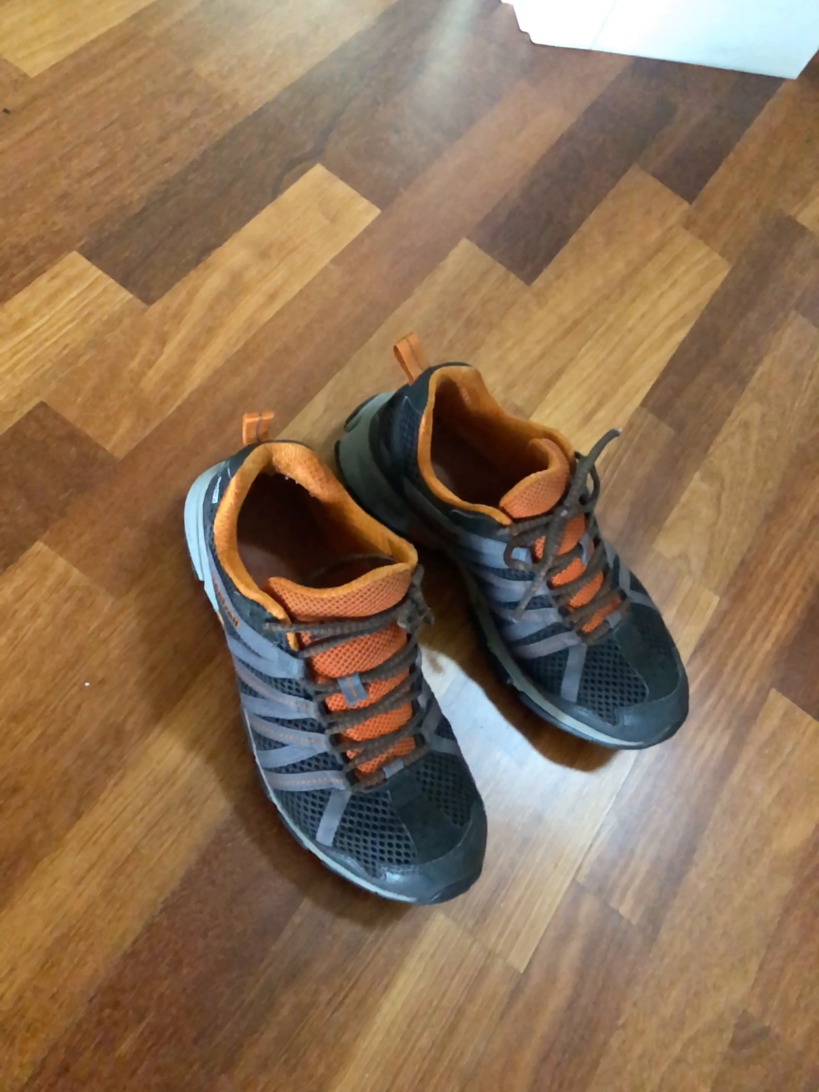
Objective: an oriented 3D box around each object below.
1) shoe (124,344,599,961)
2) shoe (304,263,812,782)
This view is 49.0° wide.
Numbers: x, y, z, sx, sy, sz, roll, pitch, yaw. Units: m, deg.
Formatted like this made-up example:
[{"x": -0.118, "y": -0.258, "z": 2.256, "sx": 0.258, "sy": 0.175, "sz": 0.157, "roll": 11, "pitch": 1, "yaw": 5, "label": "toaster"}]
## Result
[{"x": -0.041, "y": 0.054, "z": 0.479, "sx": 0.113, "sy": 0.117, "sz": 0.282, "roll": -23, "pitch": 75, "yaw": -24, "label": "shoe"}, {"x": 0.079, "y": -0.012, "z": 0.550, "sx": 0.119, "sy": 0.117, "sz": 0.278, "roll": -37, "pitch": 82, "yaw": -27, "label": "shoe"}]
